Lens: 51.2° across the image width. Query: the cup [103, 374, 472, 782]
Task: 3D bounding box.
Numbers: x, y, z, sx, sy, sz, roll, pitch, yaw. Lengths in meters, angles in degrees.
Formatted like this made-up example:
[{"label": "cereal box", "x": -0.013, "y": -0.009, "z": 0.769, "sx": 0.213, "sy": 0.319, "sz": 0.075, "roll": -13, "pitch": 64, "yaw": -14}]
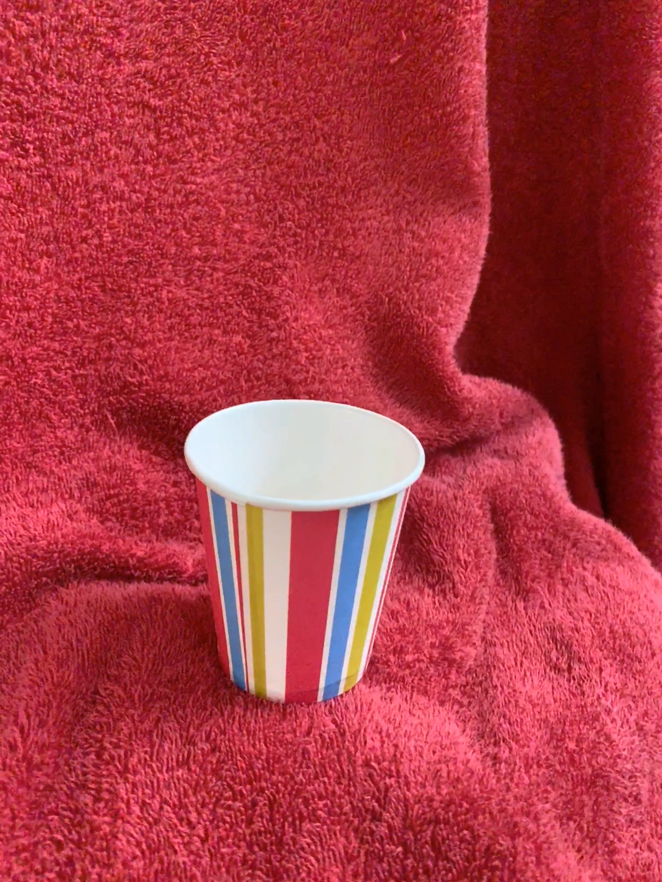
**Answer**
[{"label": "cup", "x": -0.011, "y": 0.030, "z": 0.198, "sx": 0.070, "sy": 0.069, "sz": 0.070, "roll": 3, "pitch": 24, "yaw": -1}]
